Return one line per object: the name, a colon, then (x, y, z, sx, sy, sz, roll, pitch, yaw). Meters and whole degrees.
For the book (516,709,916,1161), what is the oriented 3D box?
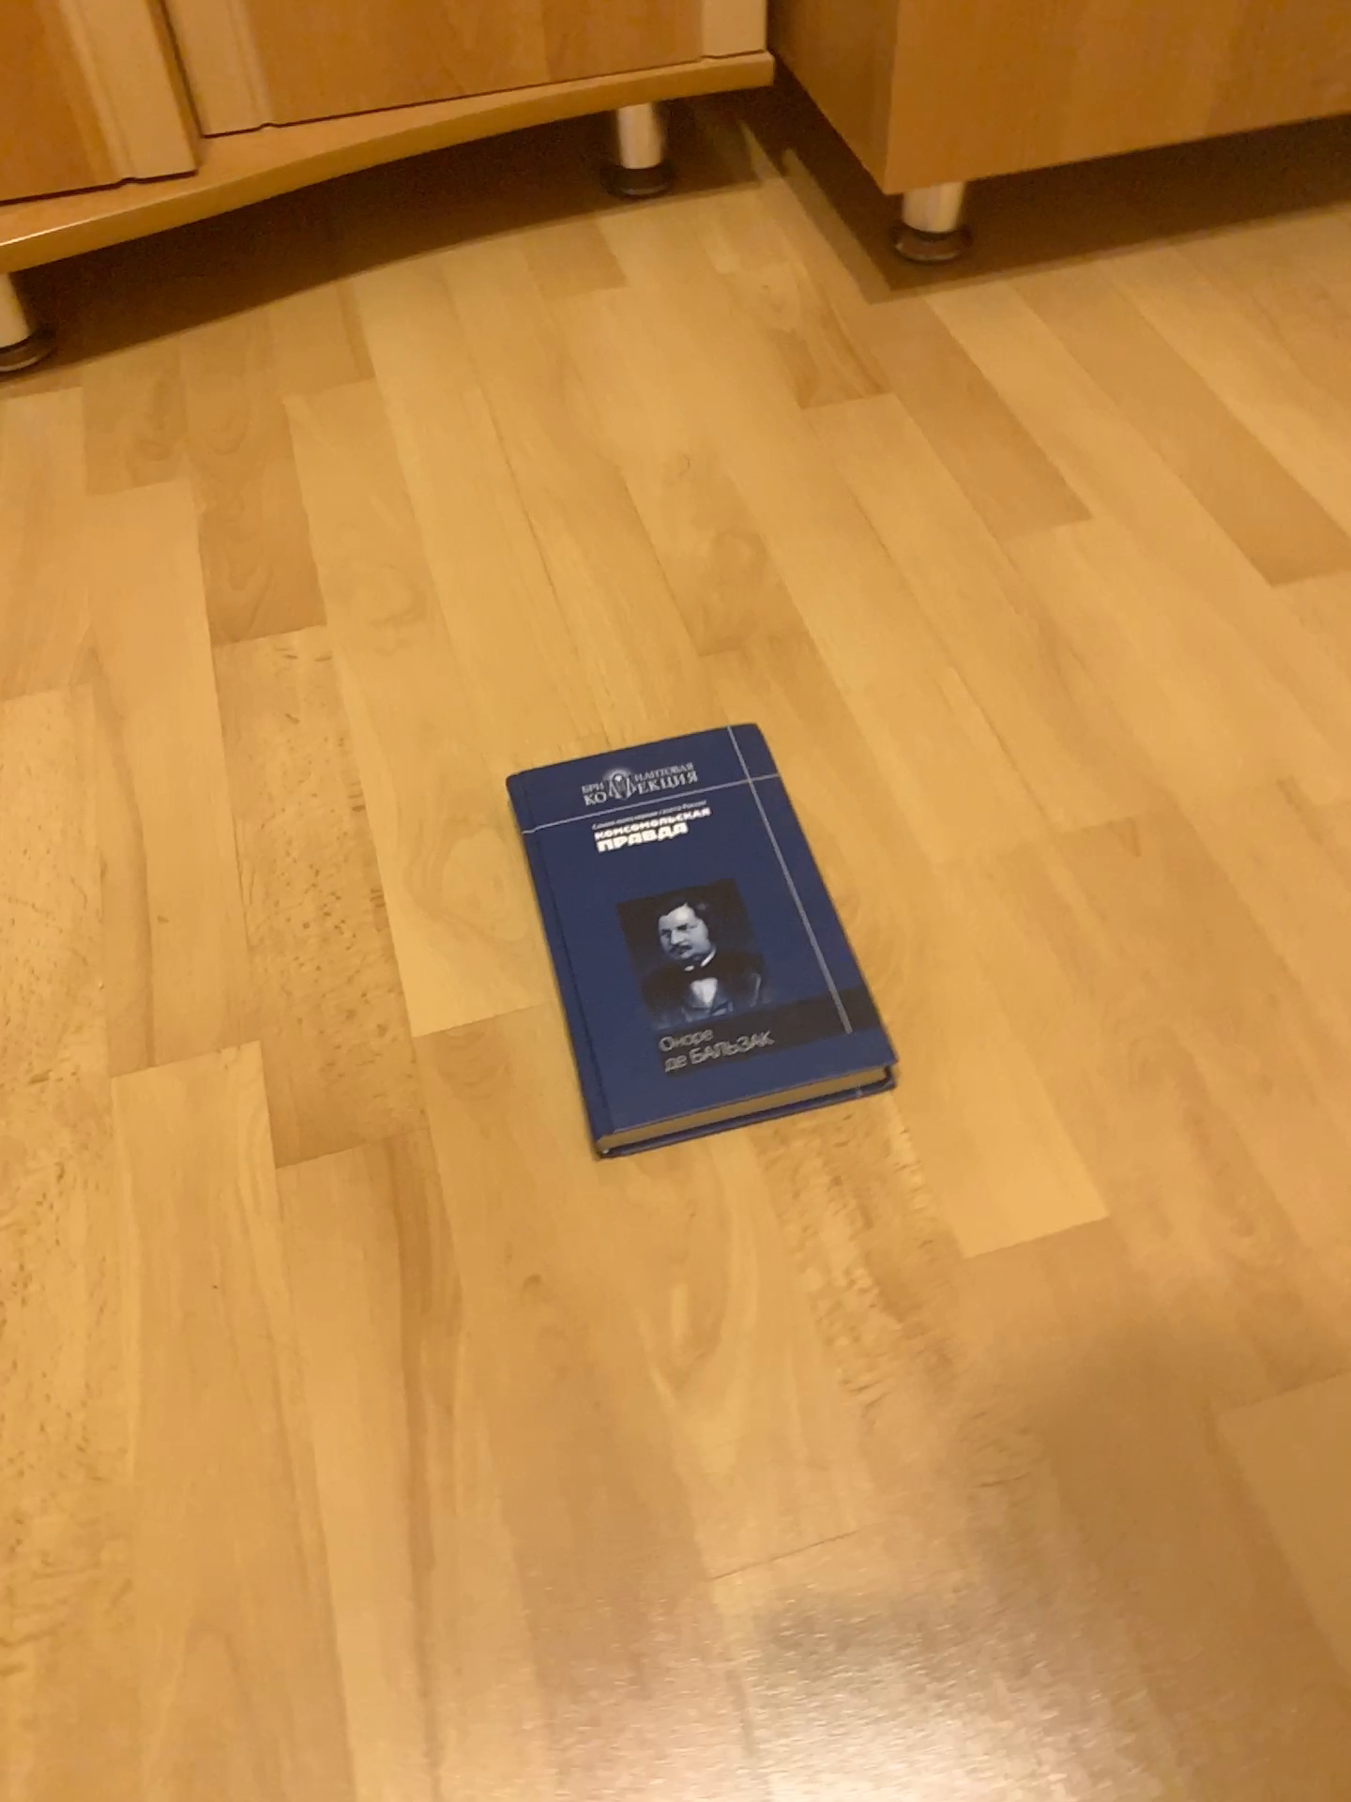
book: (0.011, 0.006, 0.627, 0.128, 0.030, 0.201, -13, 54, -7)
